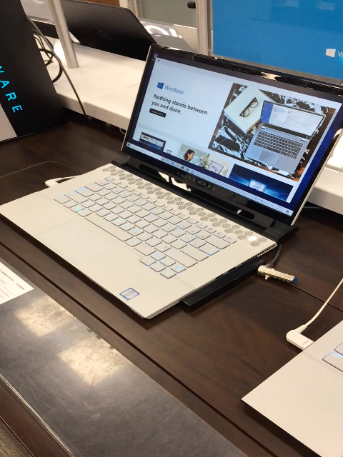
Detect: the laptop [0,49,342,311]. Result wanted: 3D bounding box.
[{"bbox_3d":[-0.028,-0.100,0.648,0.338,0.210,0.360,-30,44,-28],"label":"laptop"}]
